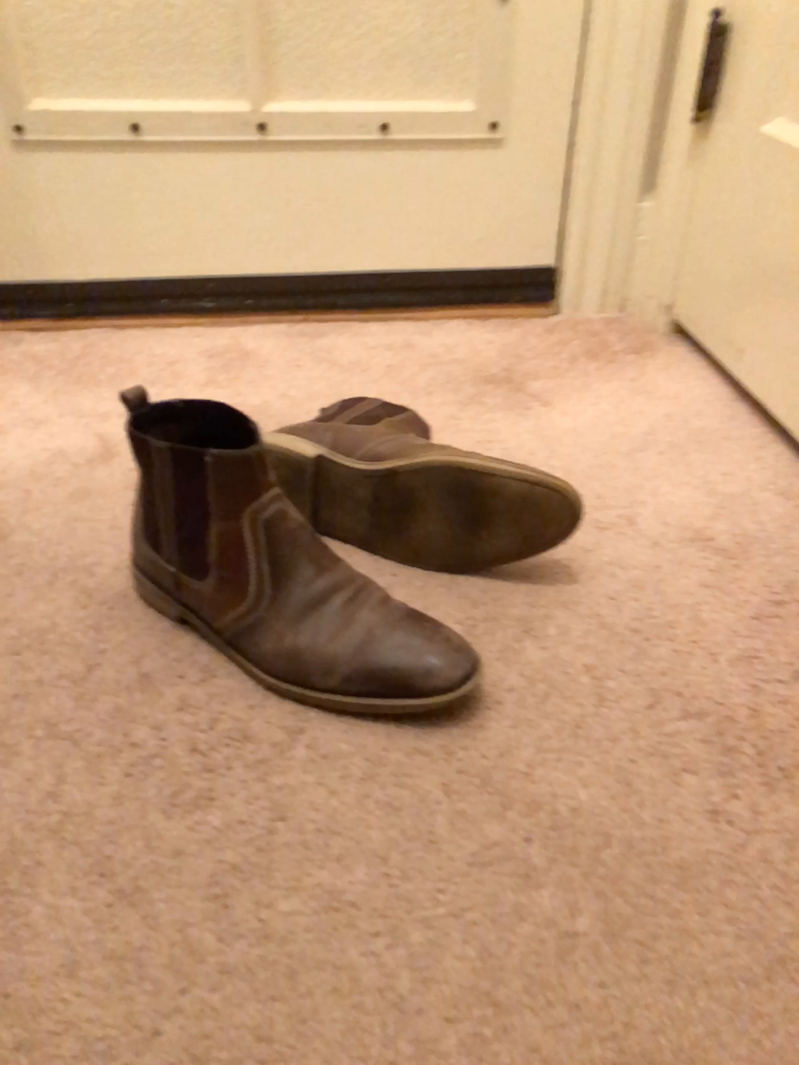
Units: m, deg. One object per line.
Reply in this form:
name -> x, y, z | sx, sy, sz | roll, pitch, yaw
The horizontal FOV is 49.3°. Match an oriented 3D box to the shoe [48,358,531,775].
shoe -> -0.080, 0.010, 0.621 | 0.308, 0.175, 0.116 | 19, 38, 25

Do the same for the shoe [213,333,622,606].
shoe -> 0.021, -0.071, 0.797 | 0.313, 0.114, 0.187 | 13, 37, 17
